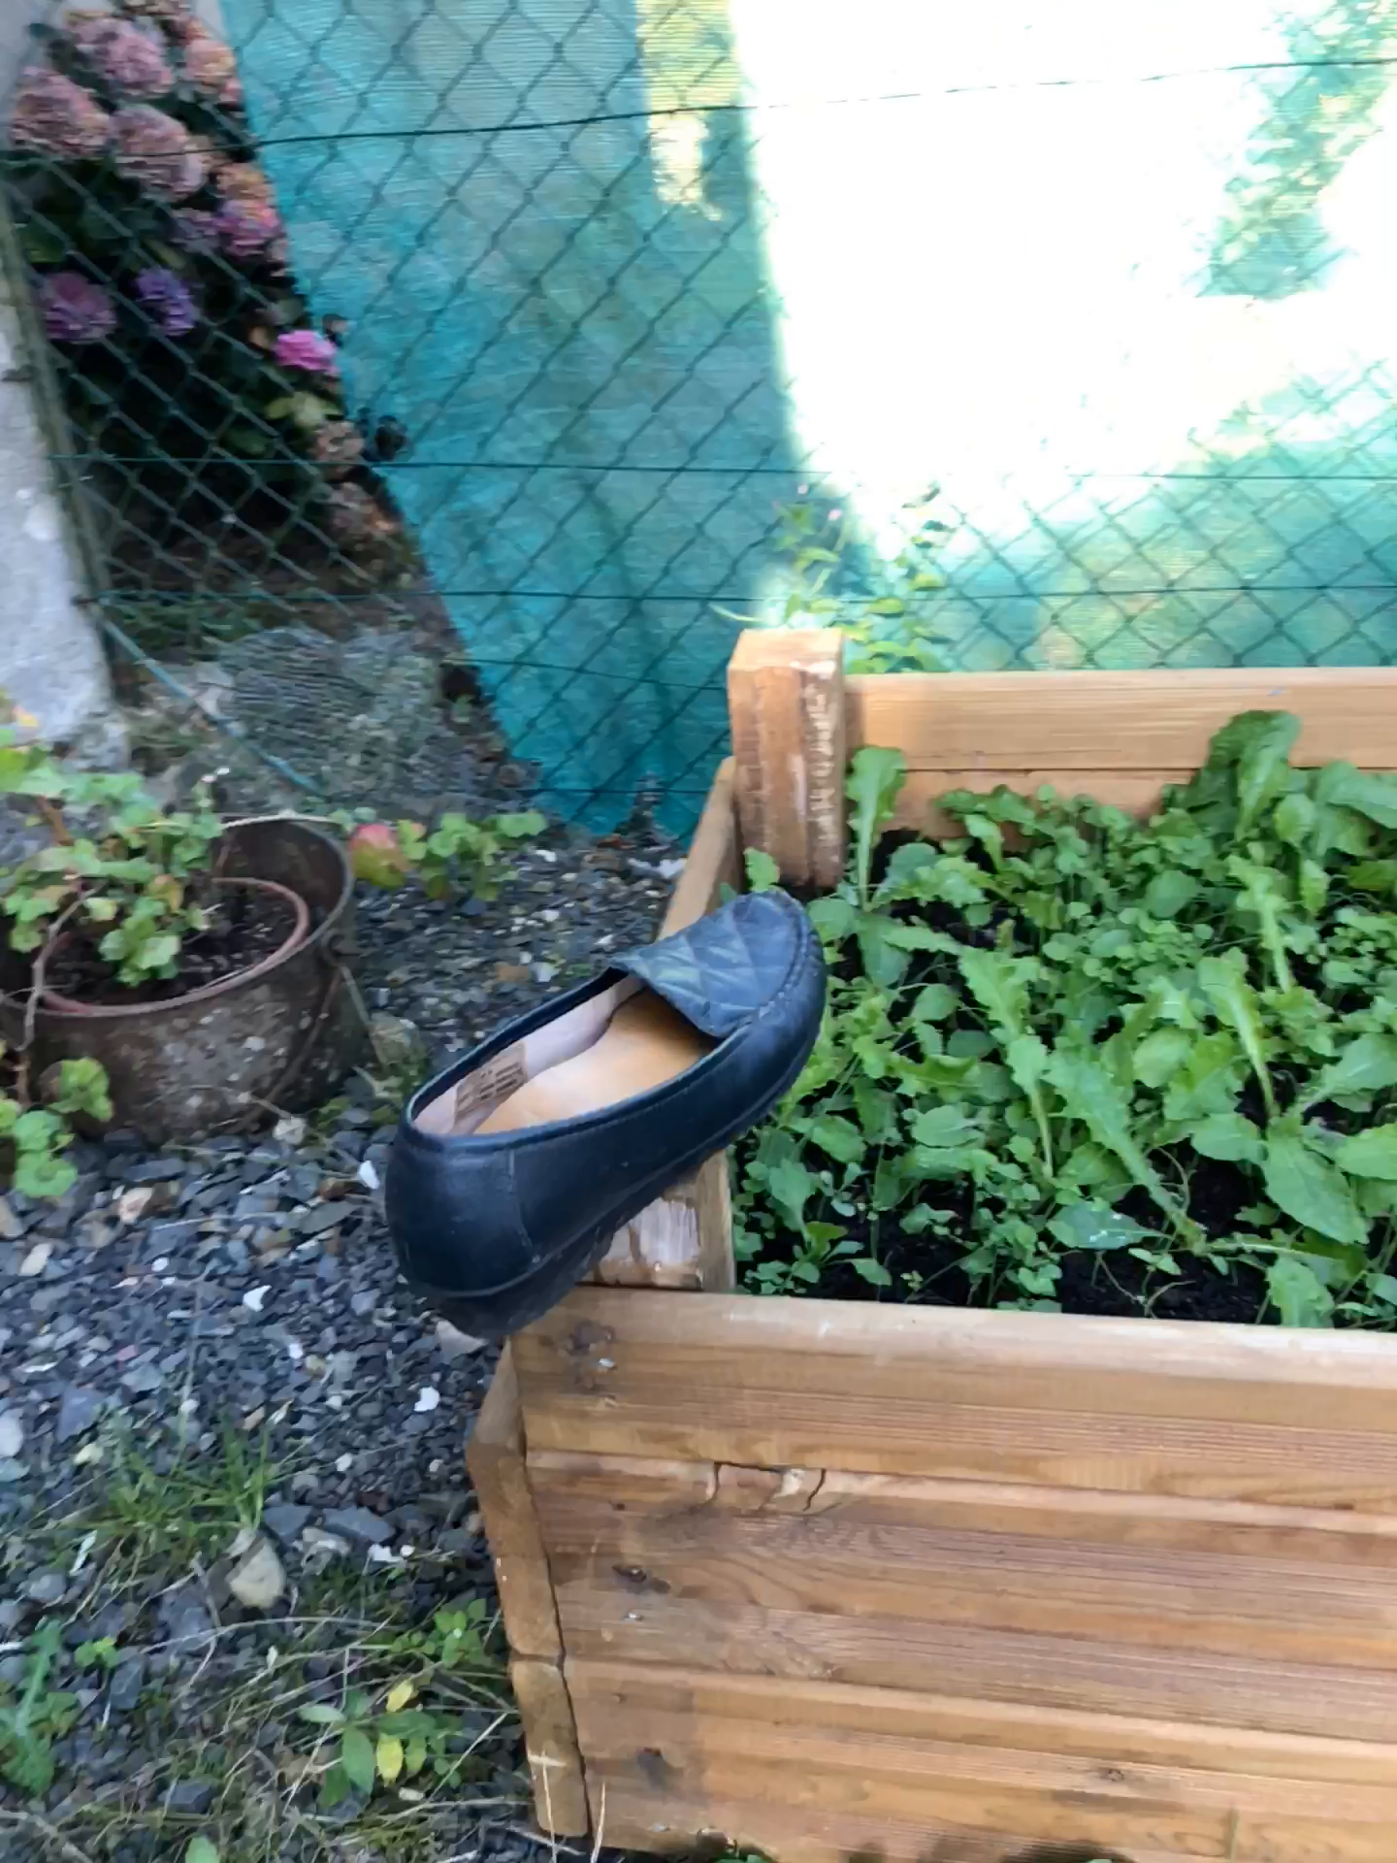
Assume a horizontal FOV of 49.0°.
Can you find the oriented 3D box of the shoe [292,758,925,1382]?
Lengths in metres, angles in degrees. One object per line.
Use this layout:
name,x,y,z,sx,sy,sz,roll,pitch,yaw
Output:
shoe,-0.020,0.038,0.612,0.100,0.089,0.262,18,42,33
